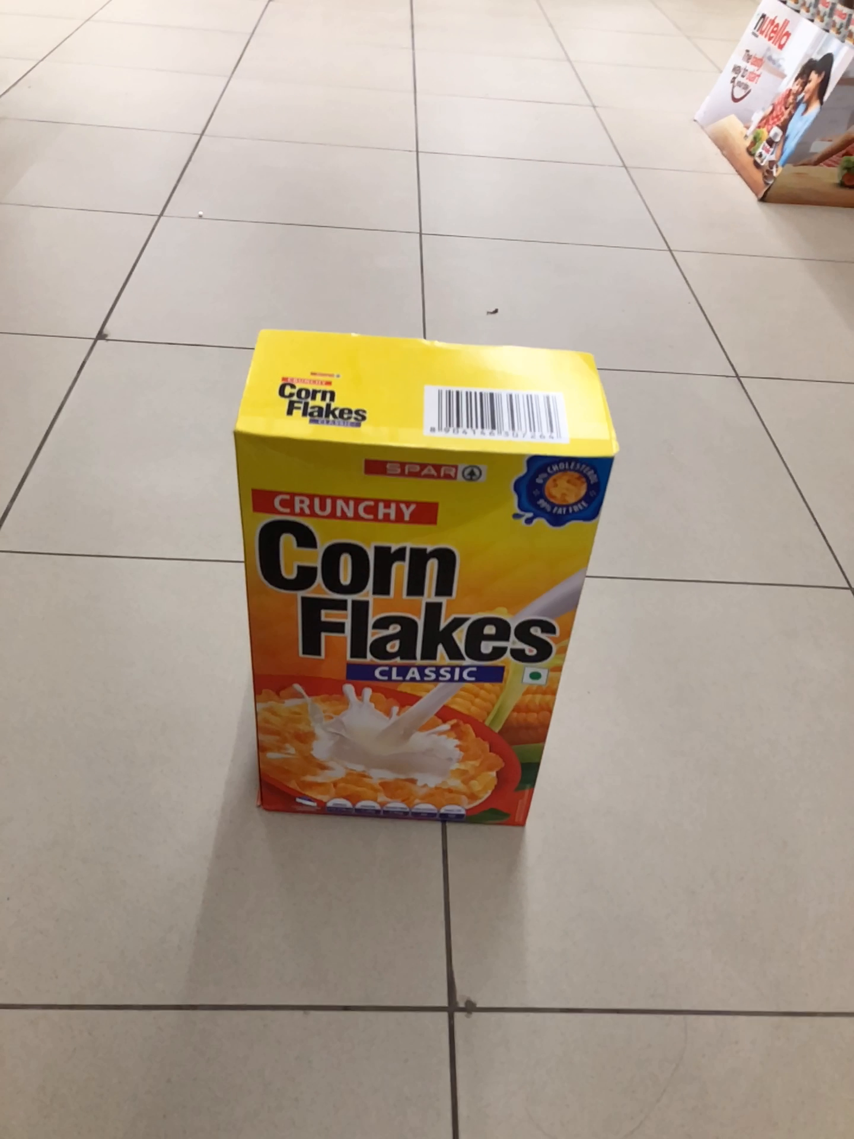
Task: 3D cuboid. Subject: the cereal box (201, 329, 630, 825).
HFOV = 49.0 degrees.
[{"bbox_3d":[-0.015,0.021,0.570,0.200,0.298,0.101,3,40,-3],"label":"cereal box"}]
